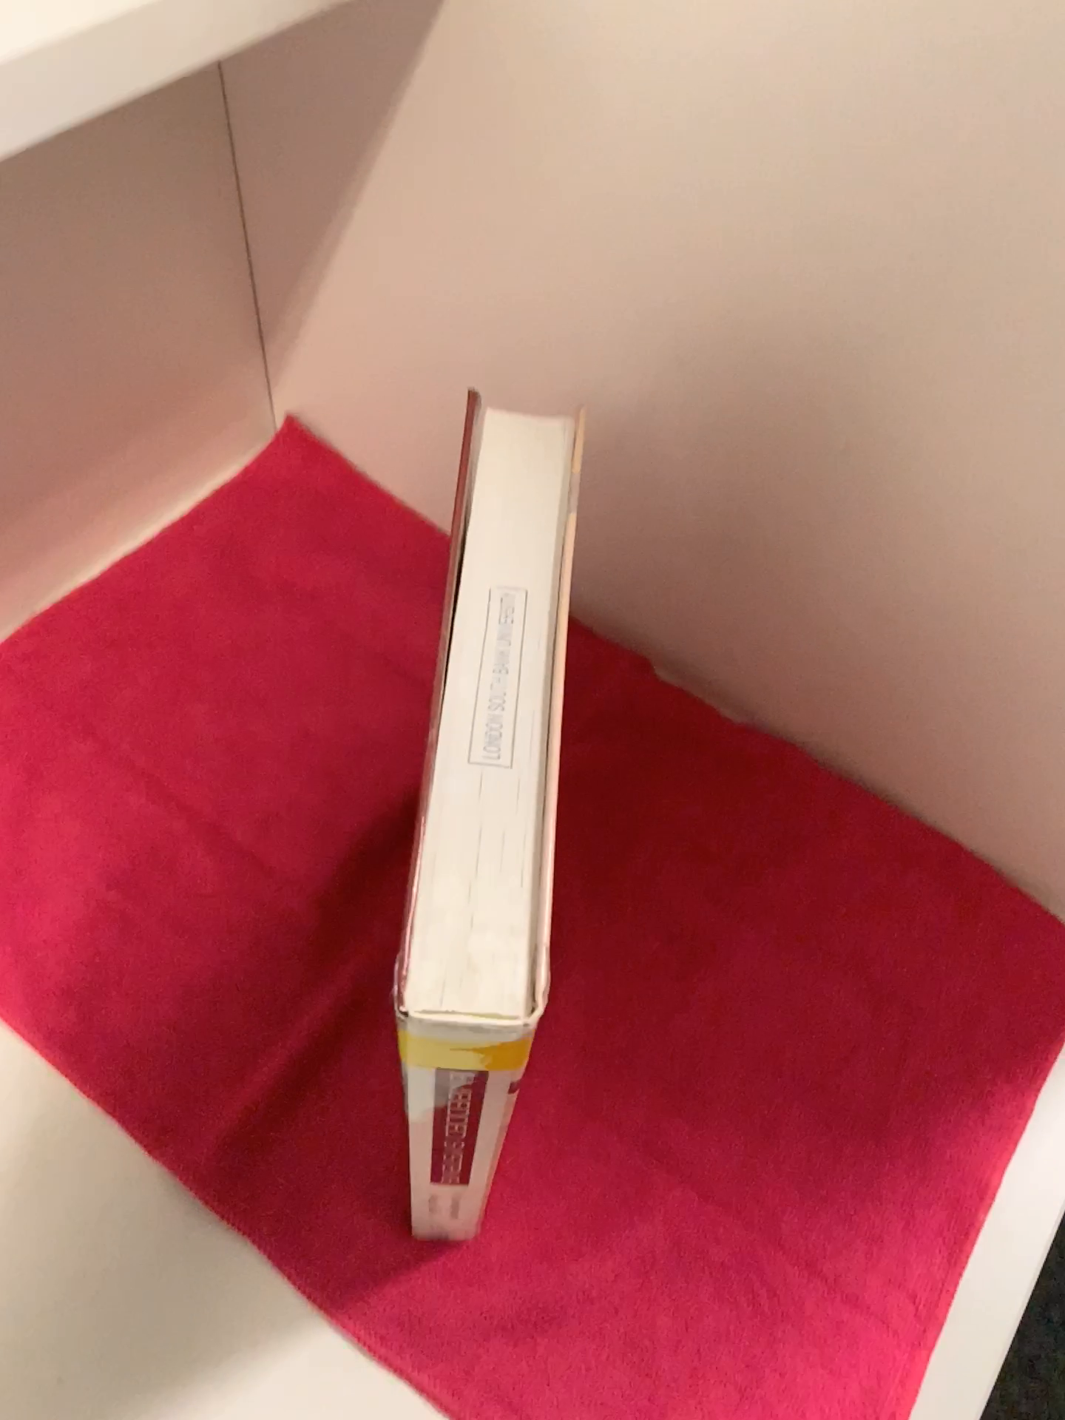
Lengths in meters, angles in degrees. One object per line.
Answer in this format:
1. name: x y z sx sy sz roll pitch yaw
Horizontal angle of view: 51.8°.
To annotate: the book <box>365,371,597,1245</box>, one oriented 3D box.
1. book: -0.017 0.053 0.398 0.044 0.258 0.213 5 54 -2
